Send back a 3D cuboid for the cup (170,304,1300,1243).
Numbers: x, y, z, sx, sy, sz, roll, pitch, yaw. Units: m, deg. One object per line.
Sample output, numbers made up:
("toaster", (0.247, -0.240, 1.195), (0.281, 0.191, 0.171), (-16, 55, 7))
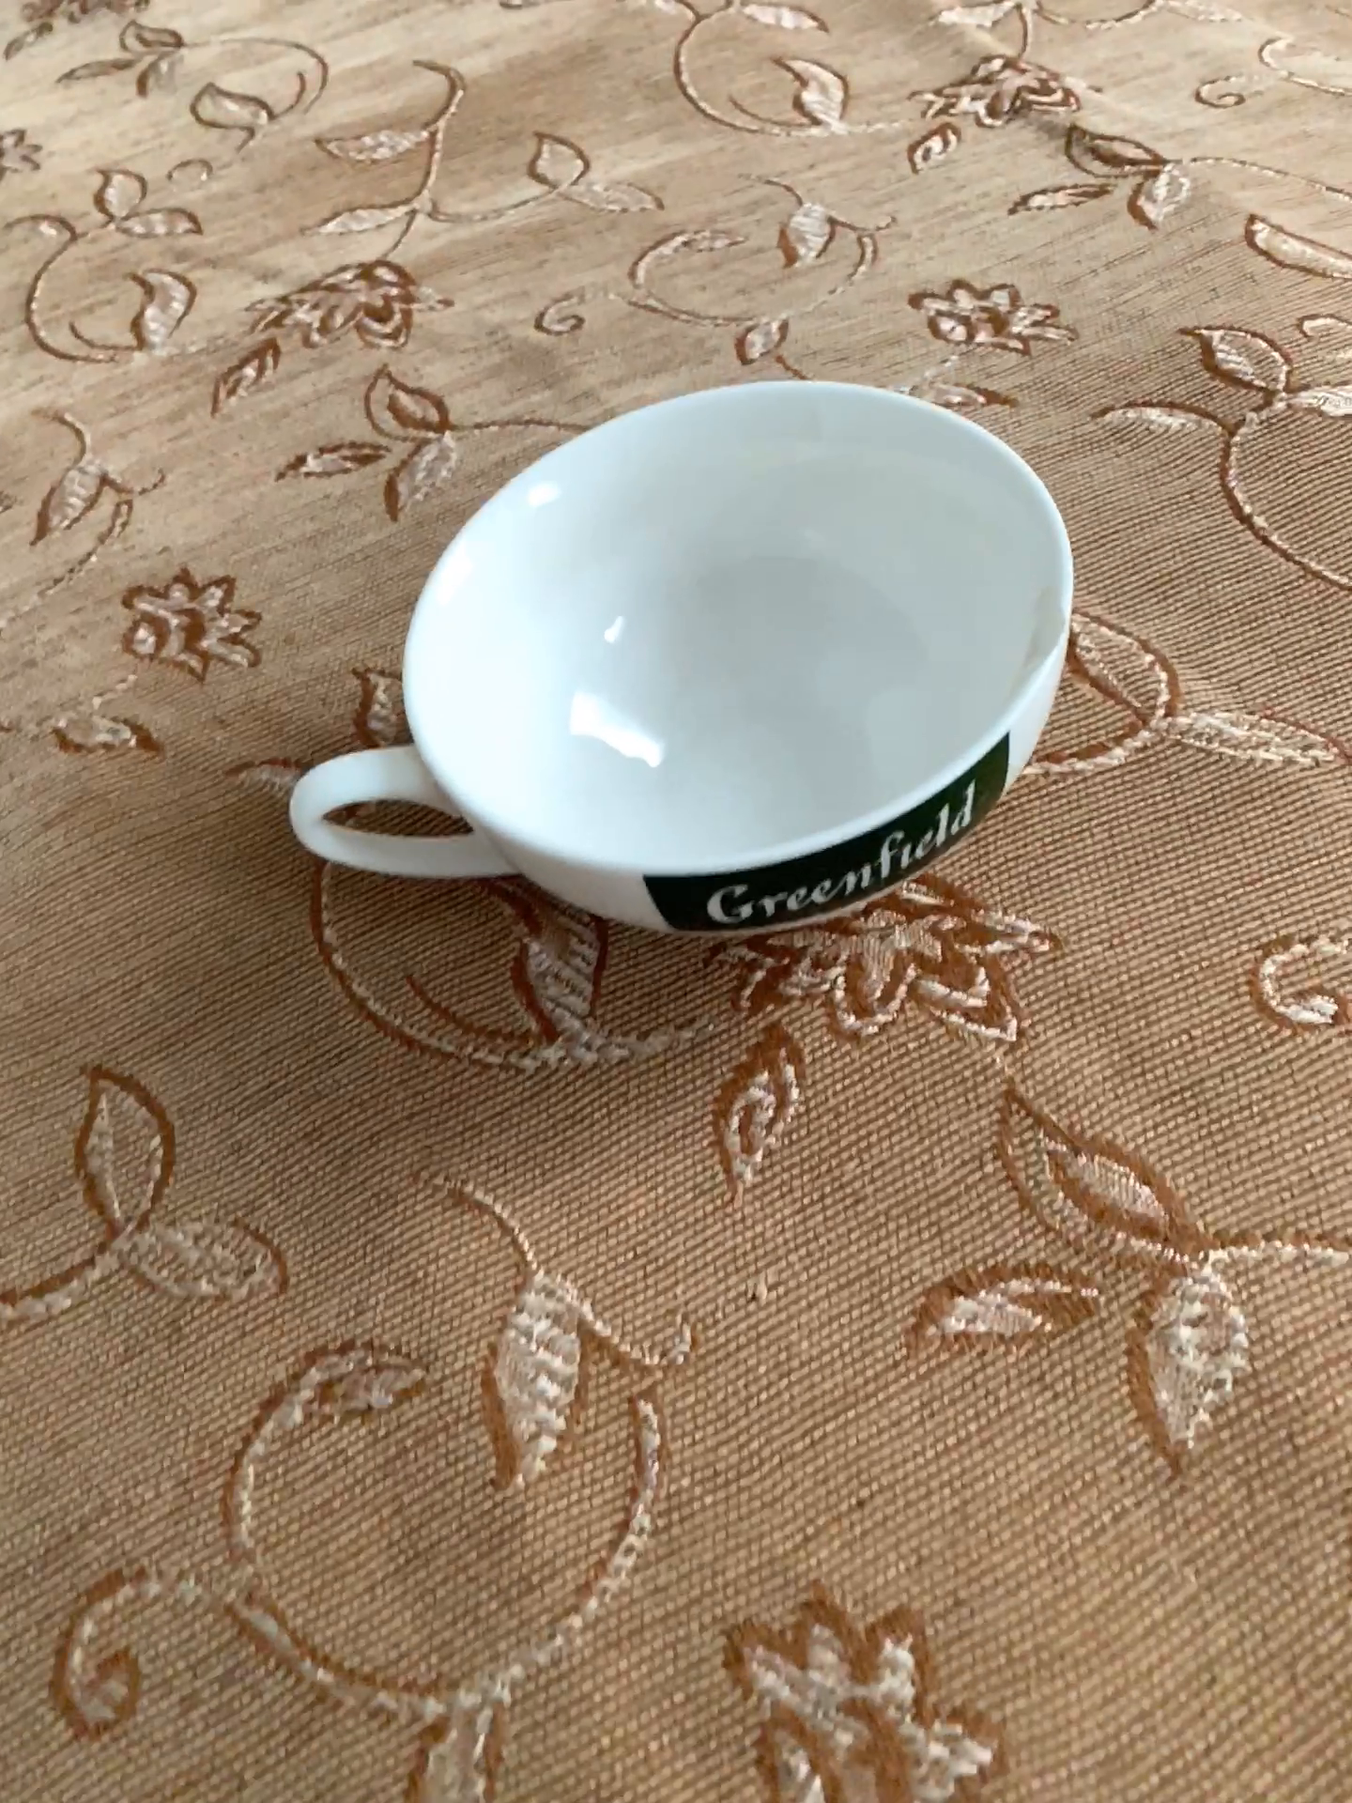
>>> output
("cup", (0.001, -0.028, 0.227), (0.140, 0.040, 0.111), (-22, 53, -5))
